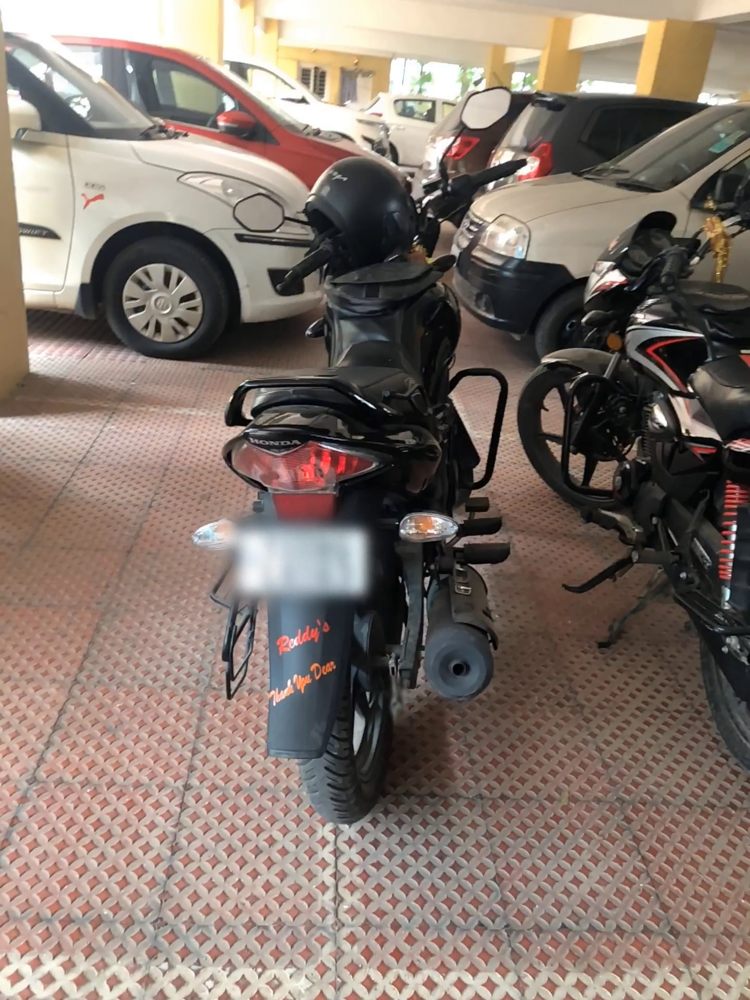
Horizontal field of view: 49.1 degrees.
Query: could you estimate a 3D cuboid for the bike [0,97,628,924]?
[{"bbox_3d":[-0.143,-0.241,1.990,0.804,1.200,1.691,7,27,0],"label":"bike"}]
